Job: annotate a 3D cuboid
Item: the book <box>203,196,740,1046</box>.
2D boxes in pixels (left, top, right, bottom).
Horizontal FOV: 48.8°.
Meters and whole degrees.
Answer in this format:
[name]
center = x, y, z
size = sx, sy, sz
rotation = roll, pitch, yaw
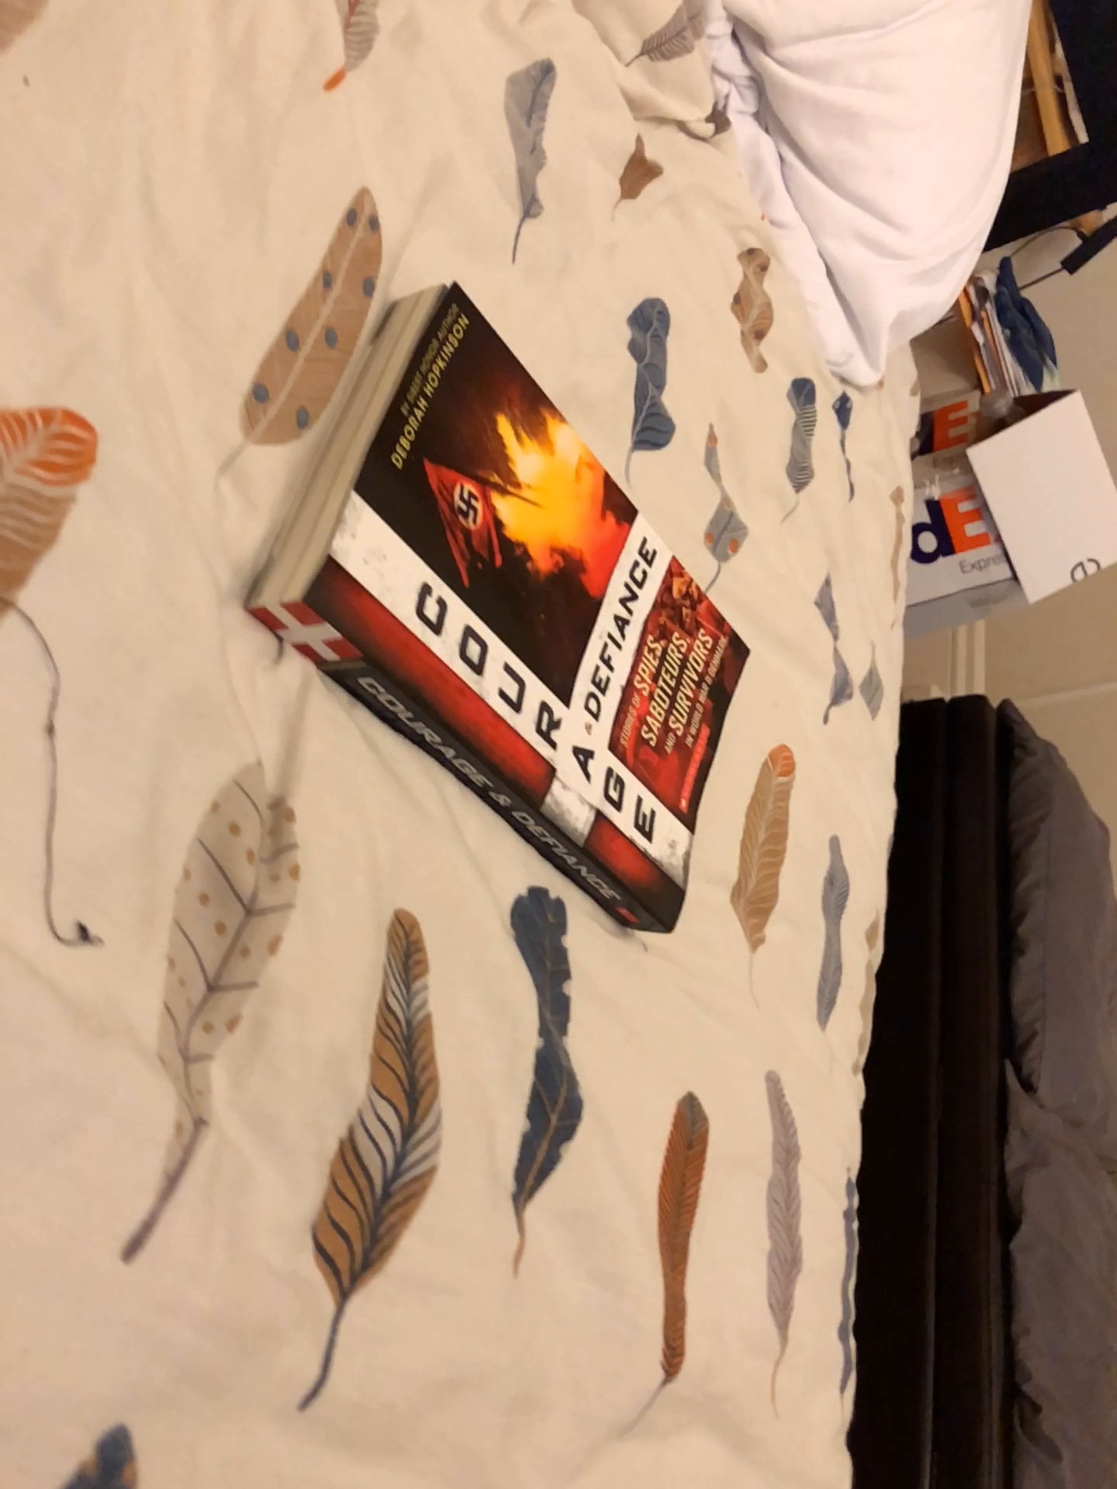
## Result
[book]
center = -0.003, -0.032, 0.427
size = 0.231, 0.020, 0.201
rotation = 43, 45, -43
